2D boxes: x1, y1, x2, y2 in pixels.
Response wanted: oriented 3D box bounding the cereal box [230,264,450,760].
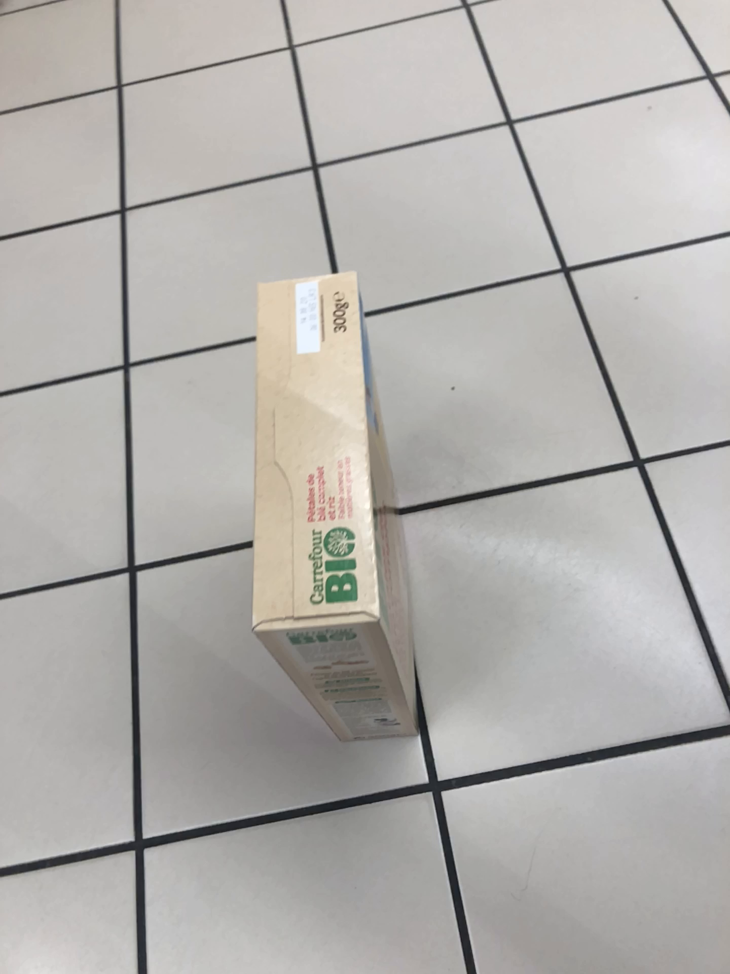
[{"bbox_3d":[-0.005,0.033,0.488,0.080,0.239,0.211,-6,62,6],"label":"cereal box"}]
